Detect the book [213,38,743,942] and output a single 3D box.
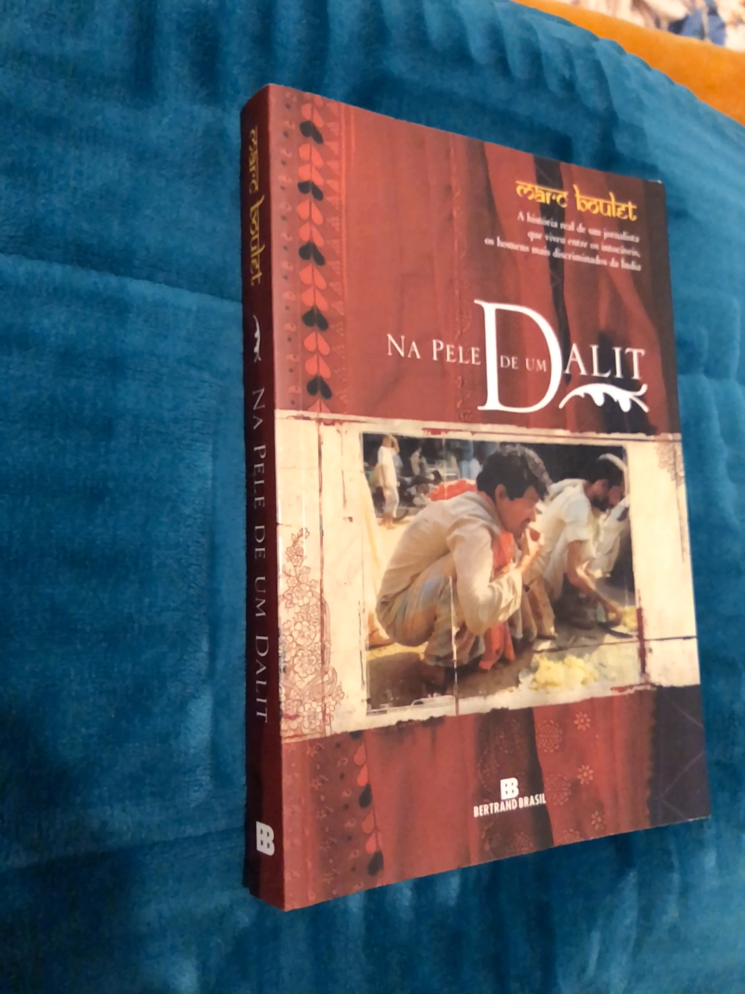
[{"bbox_3d":[0.036,-0.005,0.251,0.160,0.030,0.220,1,85,-27],"label":"book"}]
